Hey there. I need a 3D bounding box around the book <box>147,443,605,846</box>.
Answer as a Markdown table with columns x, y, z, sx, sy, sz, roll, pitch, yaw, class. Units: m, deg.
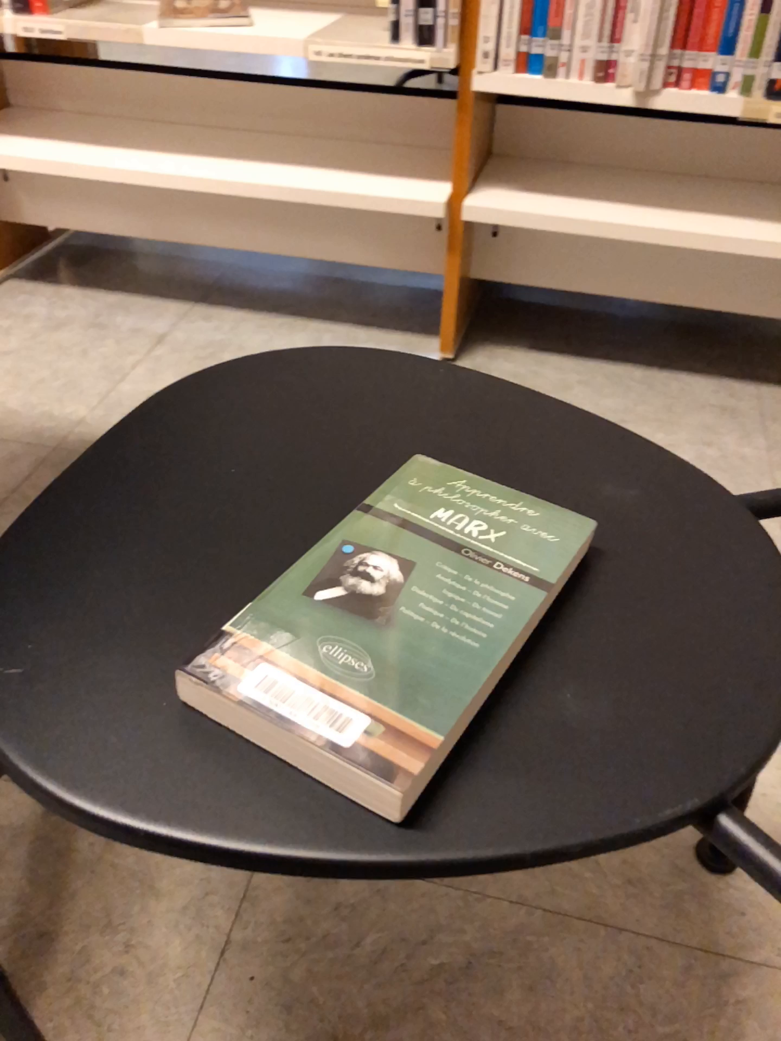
| x | y | z | sx | sy | sz | roll | pitch | yaw | class |
| --- | --- | --- | --- | --- | --- | --- | --- | --- | --- |
| 0.003 | 0.035 | 0.364 | 0.110 | 0.024 | 0.178 | 23 | 43 | 25 | book |
